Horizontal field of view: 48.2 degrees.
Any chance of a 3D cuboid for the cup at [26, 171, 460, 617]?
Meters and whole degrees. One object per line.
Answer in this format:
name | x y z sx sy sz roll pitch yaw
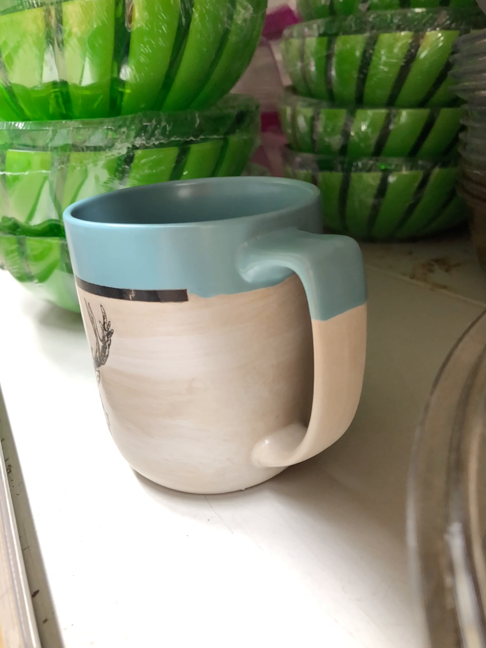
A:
cup | -0.005 0.005 0.205 0.093 0.102 0.123 -19 27 -32
